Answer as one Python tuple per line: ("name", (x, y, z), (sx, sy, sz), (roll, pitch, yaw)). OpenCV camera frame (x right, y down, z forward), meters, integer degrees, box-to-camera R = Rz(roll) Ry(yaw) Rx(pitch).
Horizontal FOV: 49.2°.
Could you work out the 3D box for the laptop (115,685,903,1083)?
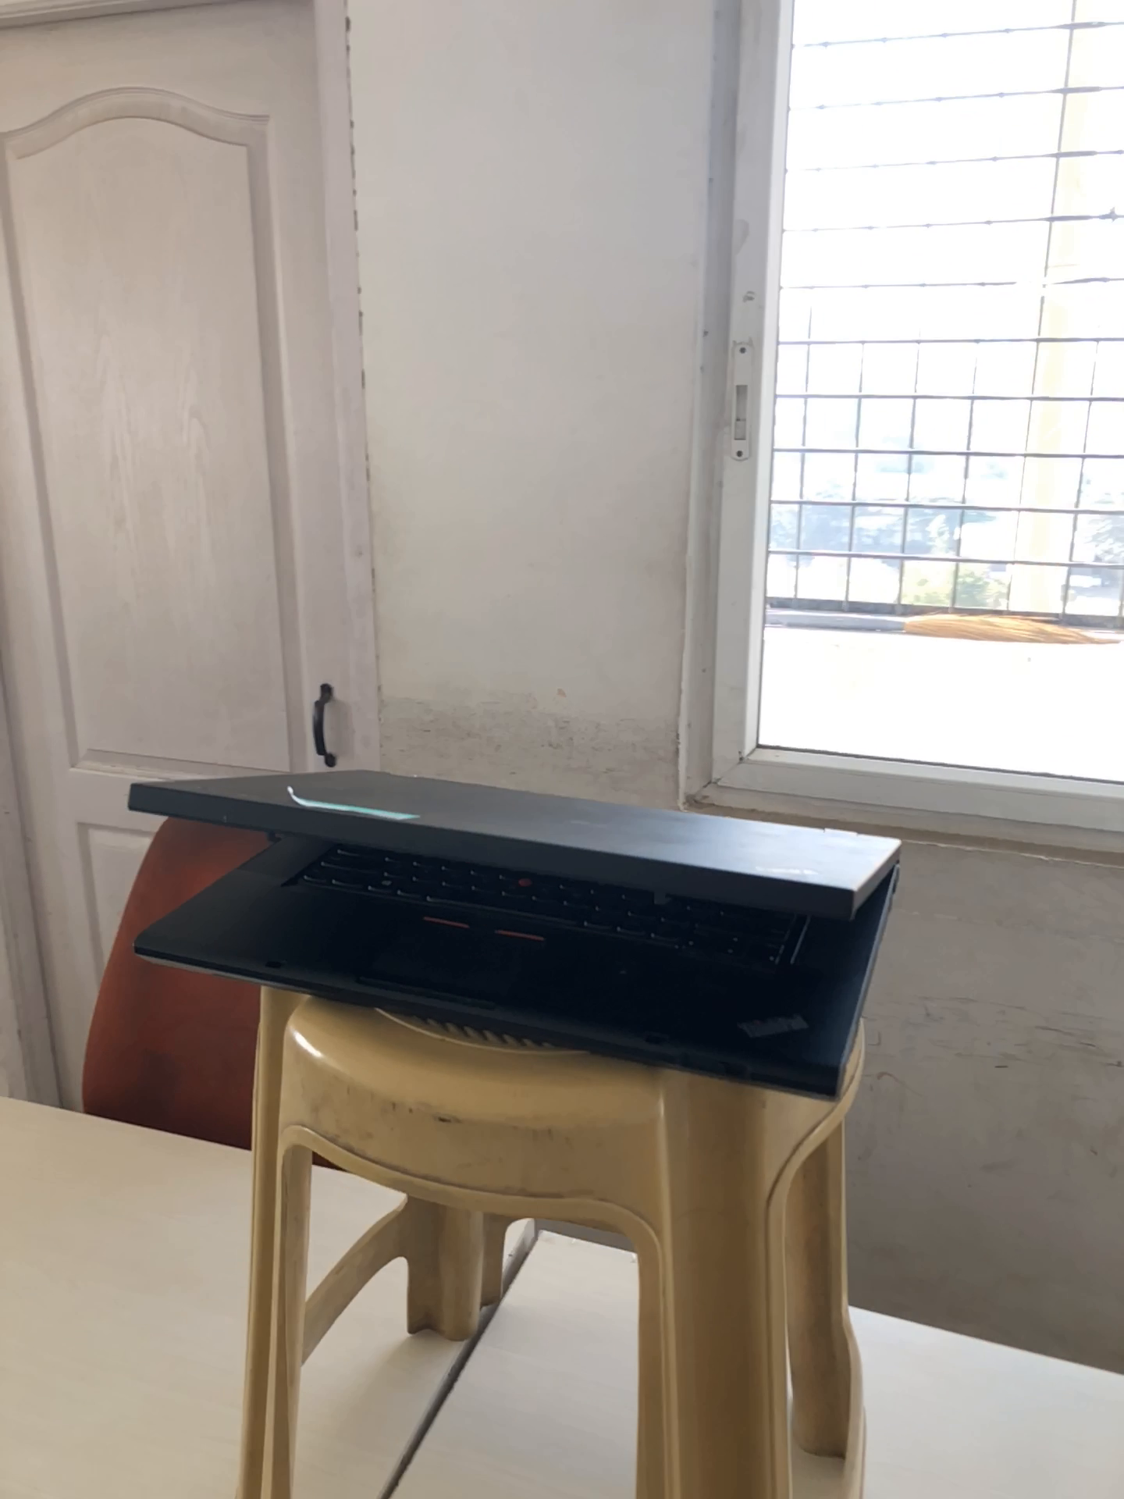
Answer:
("laptop", (-0.014, 0.050, 0.681), (0.362, 0.074, 0.235), (7, 21, 19))
